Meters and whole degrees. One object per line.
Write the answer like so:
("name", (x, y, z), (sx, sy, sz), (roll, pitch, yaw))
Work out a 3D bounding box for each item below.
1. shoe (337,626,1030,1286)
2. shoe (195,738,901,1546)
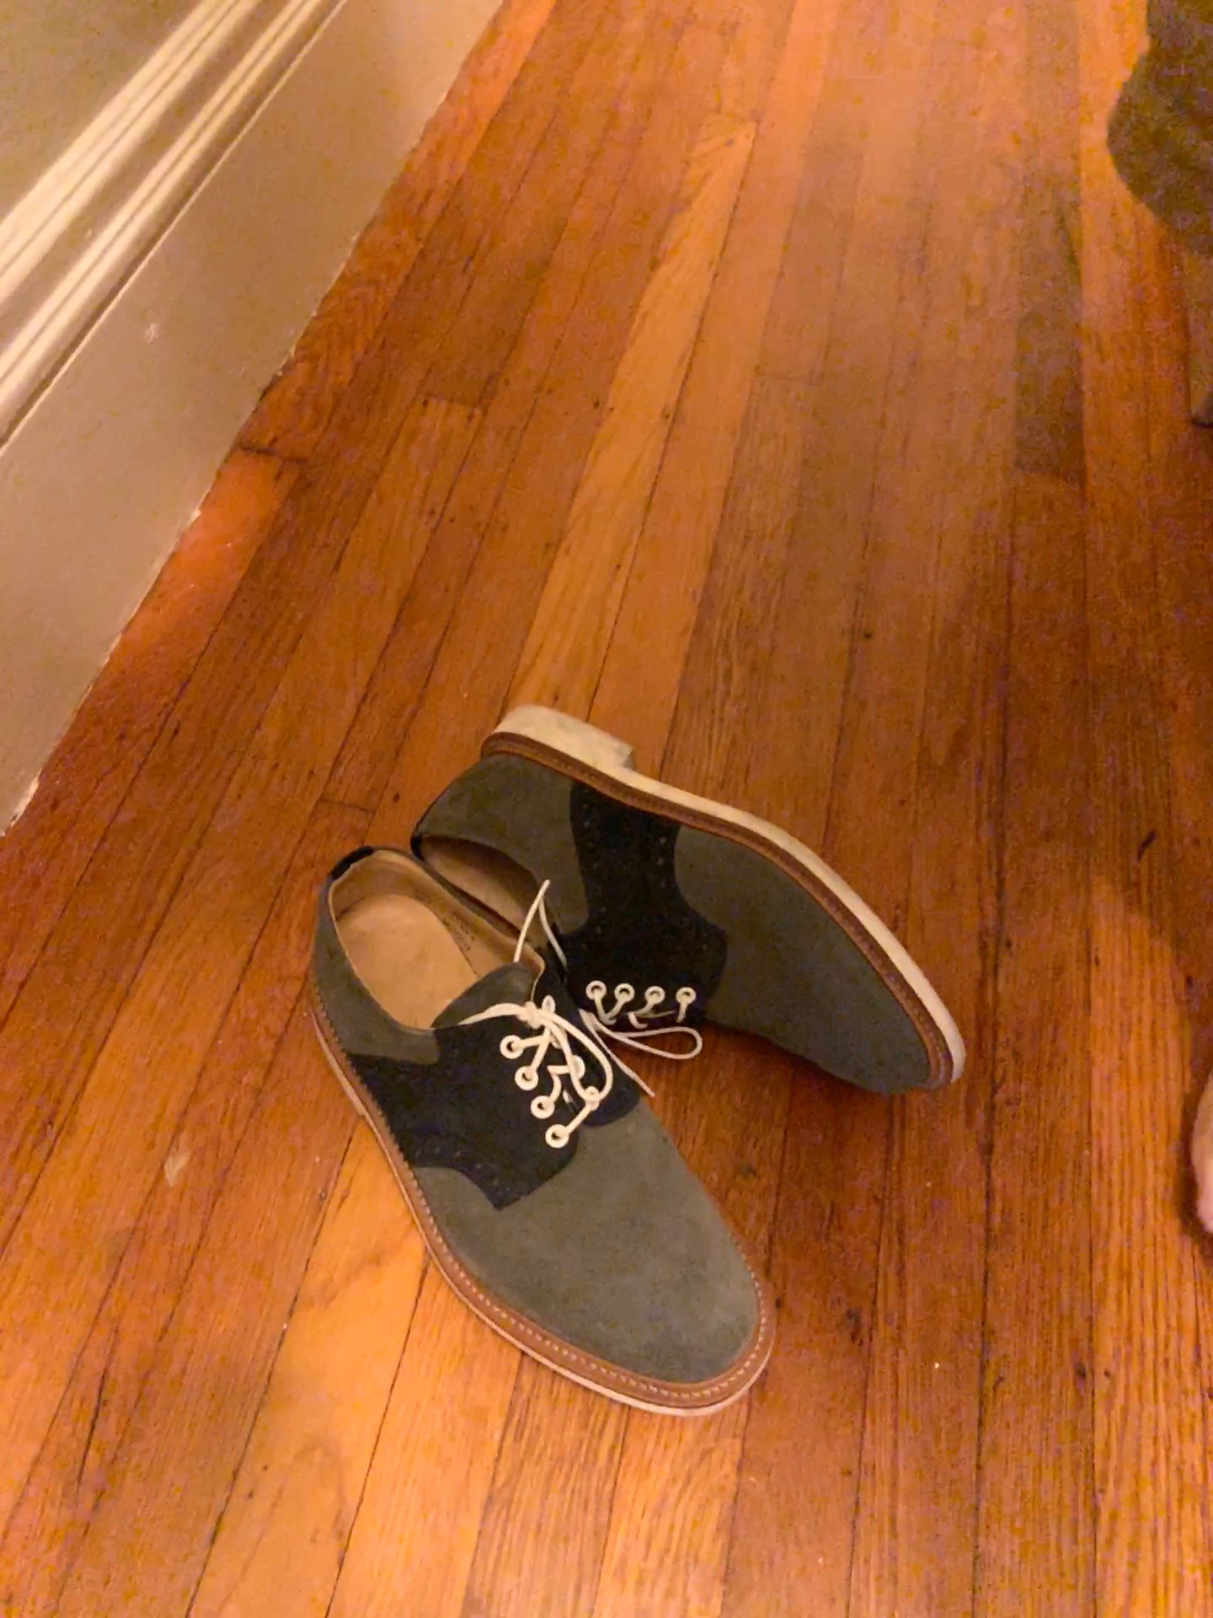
("shoe", (0.025, 0.068, 0.620), (0.310, 0.130, 0.120), (38, 63, 18))
("shoe", (-0.038, 0.131, 0.547), (0.130, 0.100, 0.311), (-30, 64, -23))
